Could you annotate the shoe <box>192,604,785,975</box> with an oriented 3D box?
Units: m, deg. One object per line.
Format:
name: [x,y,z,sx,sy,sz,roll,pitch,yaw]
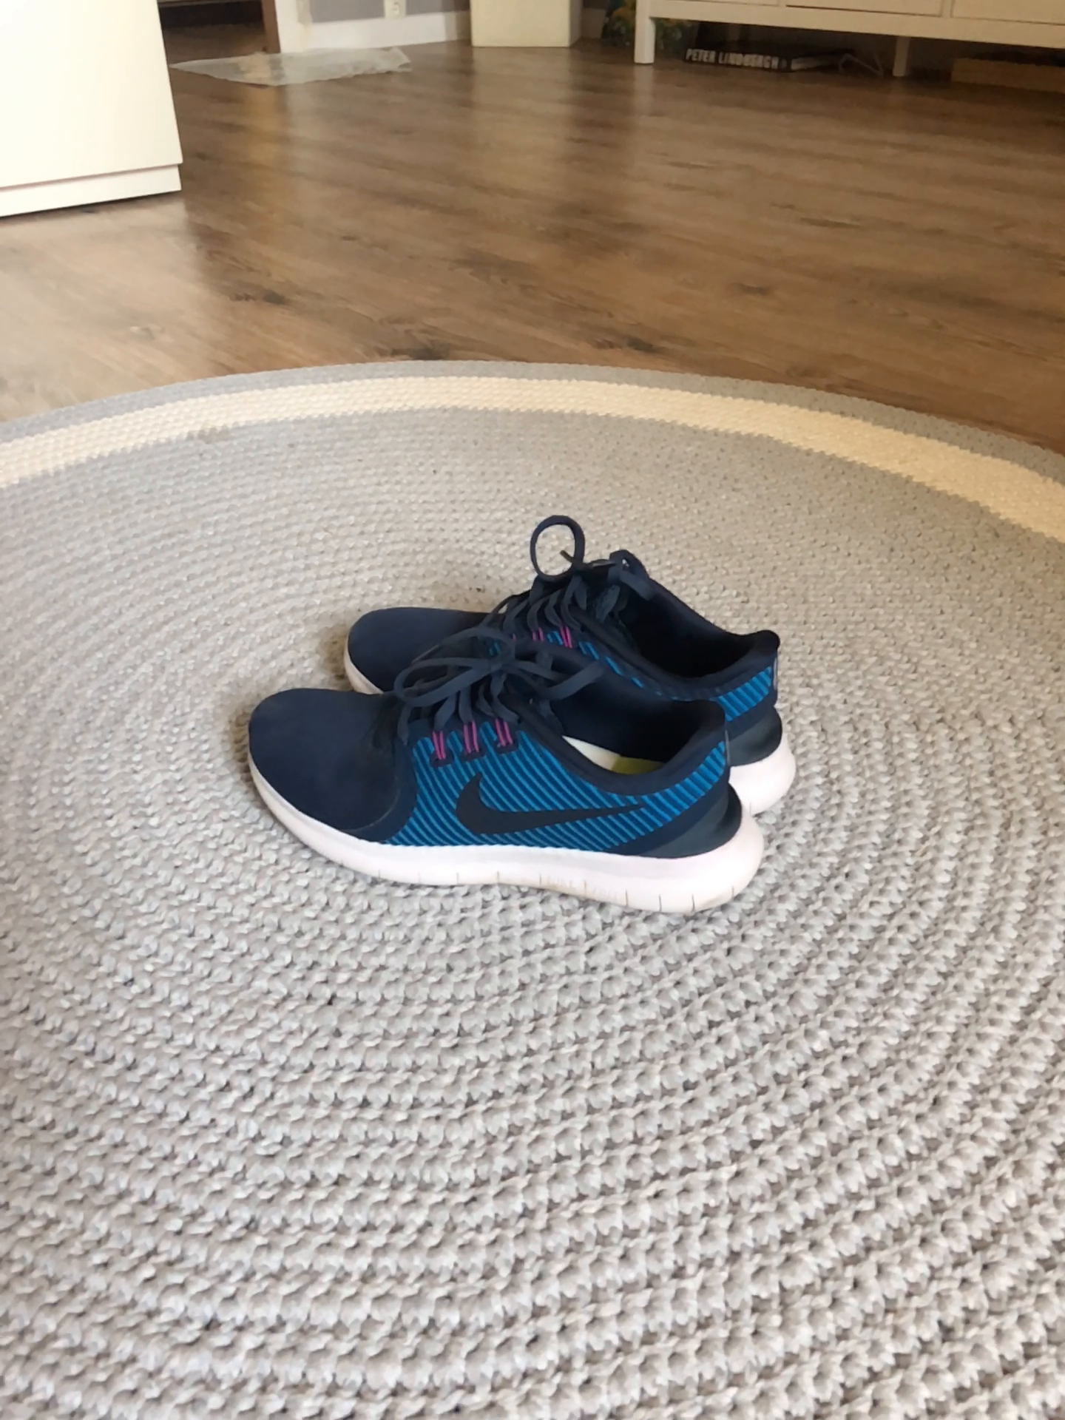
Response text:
shoe: [-0.018,0.029,0.546,0.244,0.080,0.100,11,36,17]

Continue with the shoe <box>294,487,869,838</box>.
shoe: [0.020,-0.035,0.609,0.270,0.080,0.100,17,38,23]
